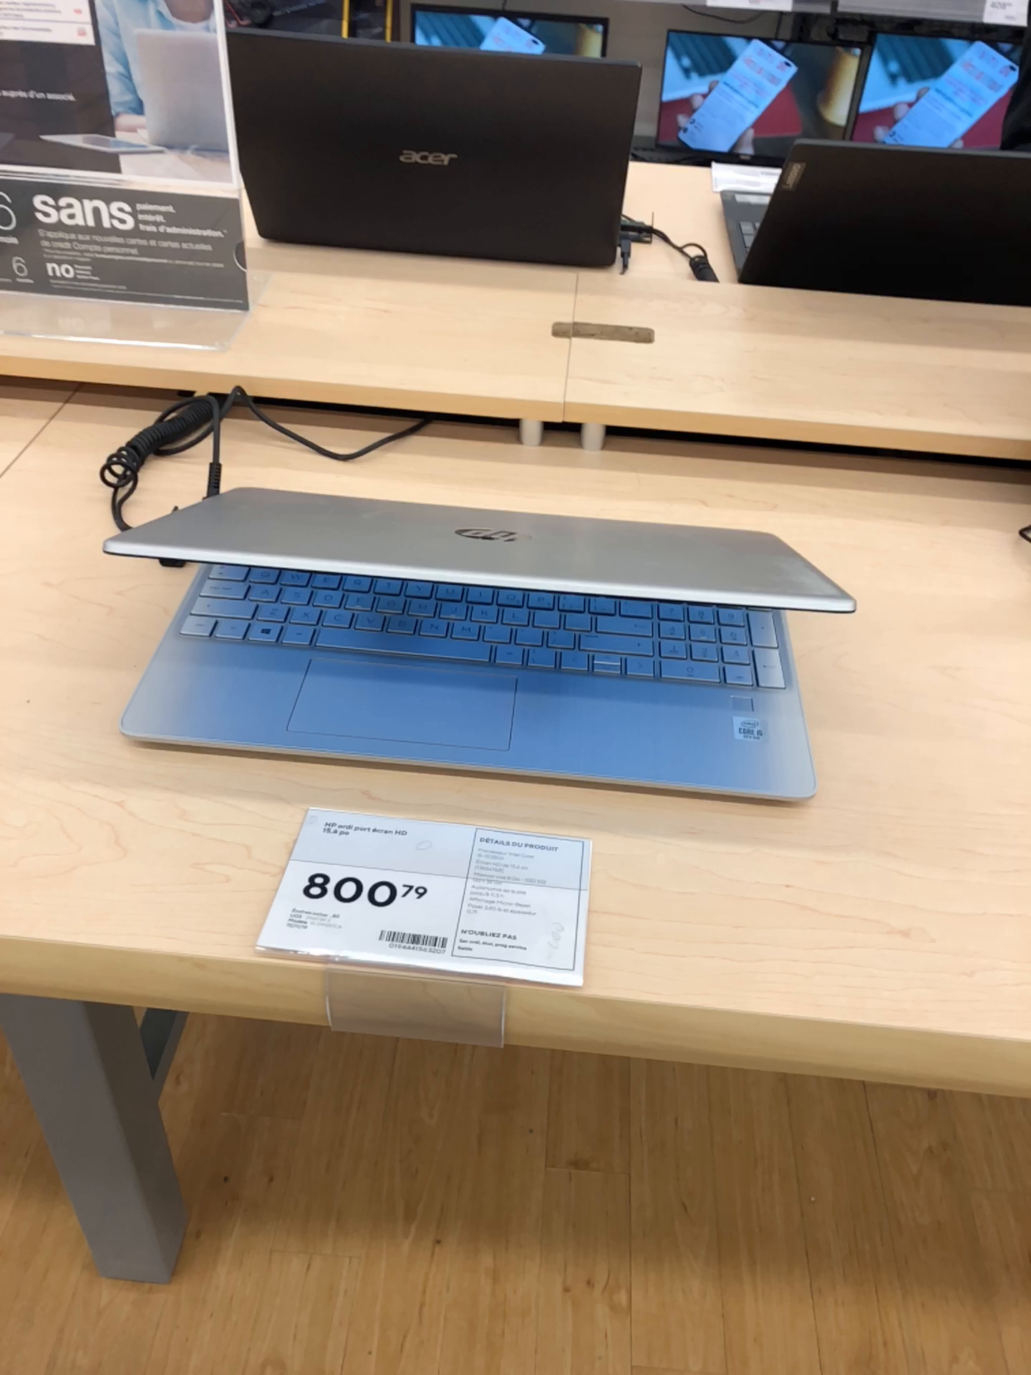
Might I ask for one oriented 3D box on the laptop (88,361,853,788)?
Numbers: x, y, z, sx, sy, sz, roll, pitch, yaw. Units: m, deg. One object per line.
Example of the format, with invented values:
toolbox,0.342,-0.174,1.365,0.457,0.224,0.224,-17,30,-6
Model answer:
laptop,-0.013,-0.072,0.613,0.340,0.086,0.225,5,41,1
